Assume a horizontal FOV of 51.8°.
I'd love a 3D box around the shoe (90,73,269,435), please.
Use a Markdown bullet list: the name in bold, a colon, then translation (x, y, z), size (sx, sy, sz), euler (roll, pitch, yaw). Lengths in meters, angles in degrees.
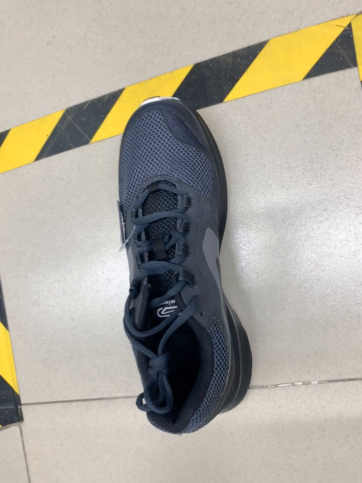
- **shoe**: translation (0.002, 0.015, 0.335), size (0.110, 0.070, 0.280), euler (-8, 88, 17)
